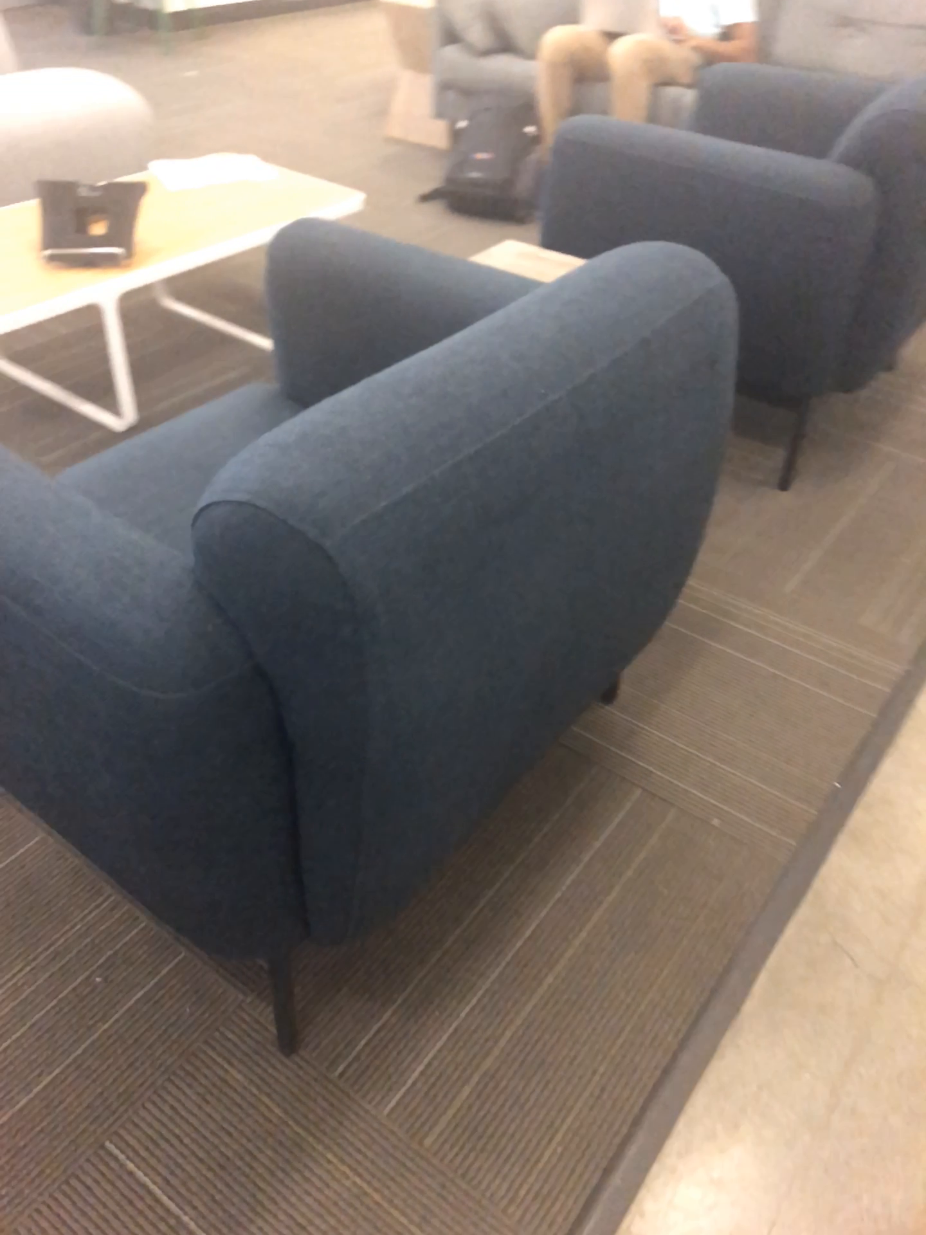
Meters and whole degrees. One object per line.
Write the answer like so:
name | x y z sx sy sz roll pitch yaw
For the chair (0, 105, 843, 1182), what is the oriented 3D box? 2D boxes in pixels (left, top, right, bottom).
chair | -0.177 -0.092 1.336 0.841 0.783 0.927 26 45 26
